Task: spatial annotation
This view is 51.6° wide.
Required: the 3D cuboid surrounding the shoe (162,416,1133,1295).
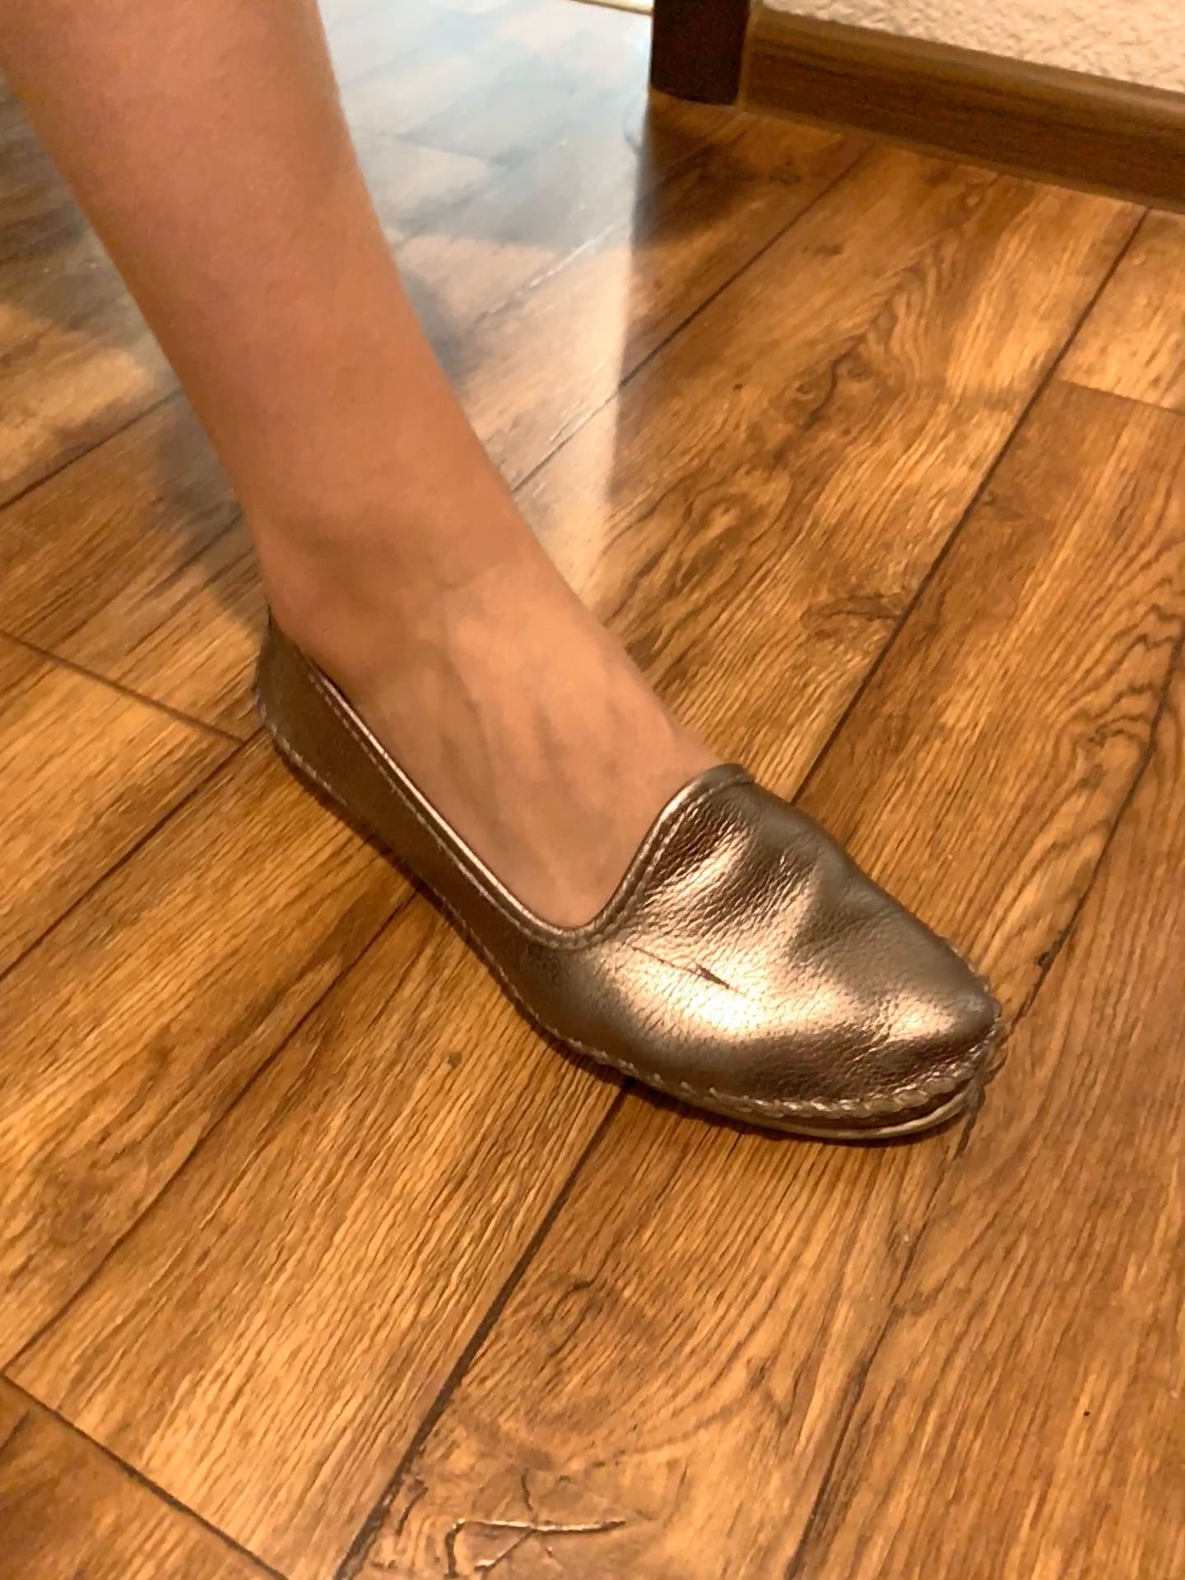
[{"bbox_3d":[0.004,0.006,0.325,0.230,0.070,0.096,38,58,18],"label":"shoe"}]
